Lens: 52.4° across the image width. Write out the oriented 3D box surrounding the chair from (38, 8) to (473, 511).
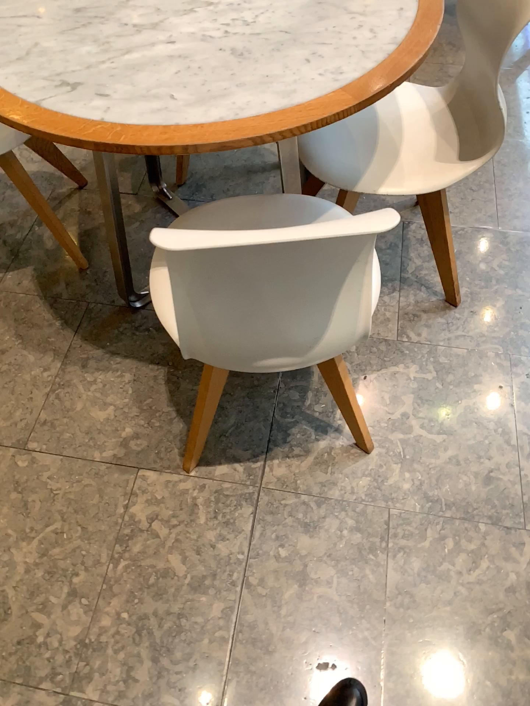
[{"bbox_3d":[-0.019,-0.092,1.148,0.500,0.913,0.544,-5,57,-1],"label":"chair"}]
